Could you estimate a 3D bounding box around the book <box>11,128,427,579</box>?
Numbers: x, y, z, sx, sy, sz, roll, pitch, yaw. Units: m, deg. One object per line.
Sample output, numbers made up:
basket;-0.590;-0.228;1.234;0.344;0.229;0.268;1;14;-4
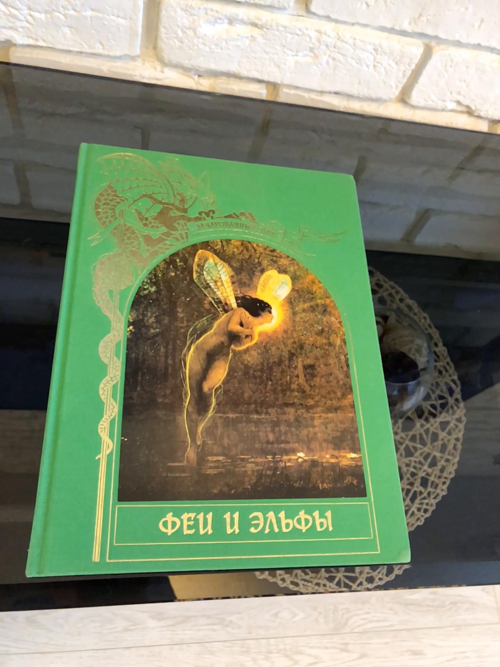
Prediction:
book;-0.016;-0.002;0.362;0.217;0.030;0.291;4;63;-12
